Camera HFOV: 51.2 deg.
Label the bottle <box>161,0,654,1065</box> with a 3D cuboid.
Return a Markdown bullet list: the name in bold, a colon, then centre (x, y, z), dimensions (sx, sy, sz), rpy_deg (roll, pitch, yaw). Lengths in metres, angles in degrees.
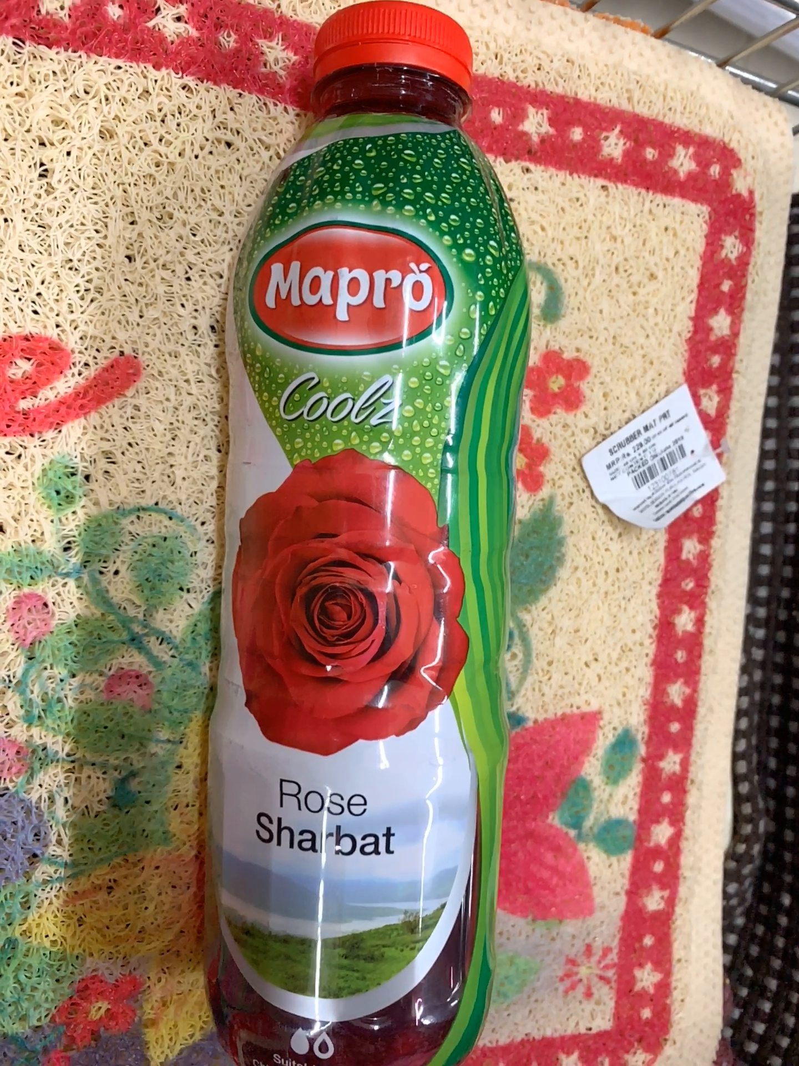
- **bottle**: centre (0.000, -0.005, 0.199), dimensions (0.080, 0.080, 0.250), rpy_deg (4, 96, 3)
